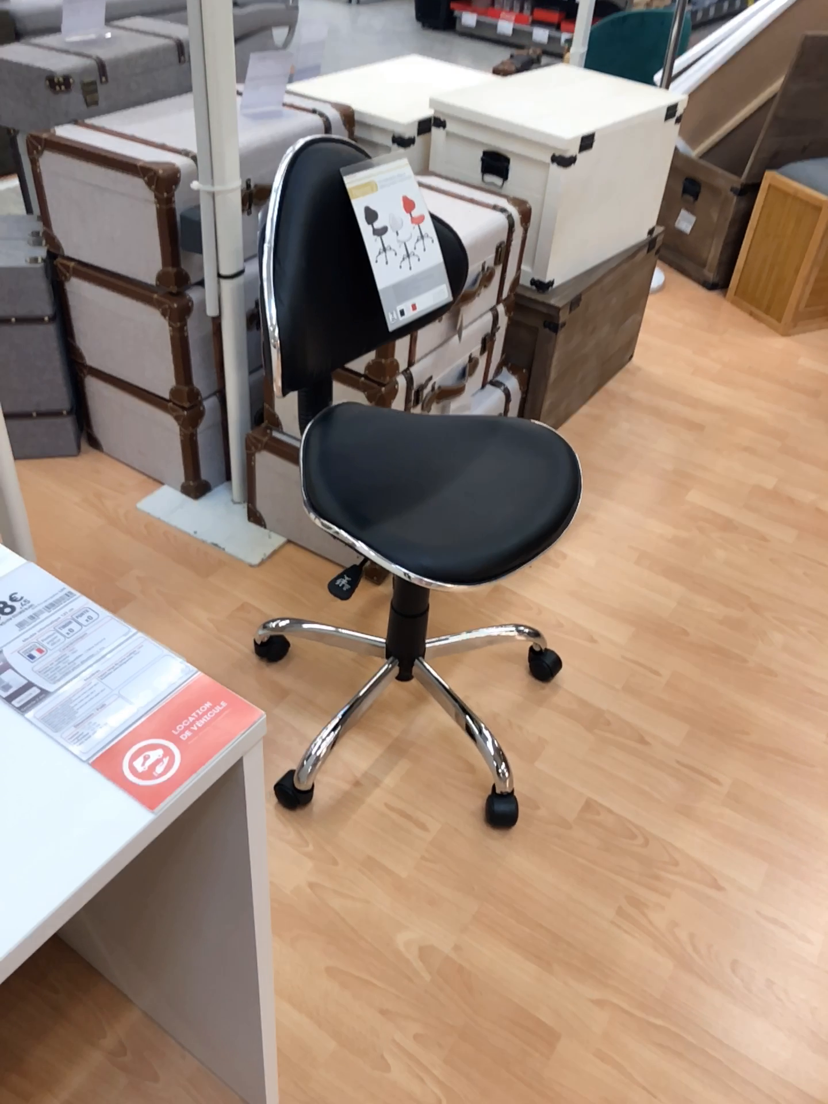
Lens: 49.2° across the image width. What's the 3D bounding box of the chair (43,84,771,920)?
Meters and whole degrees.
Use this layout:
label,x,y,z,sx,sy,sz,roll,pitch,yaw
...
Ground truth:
label,x,y,z,sx,sy,sz,roll,pitch,yaw
chair,0.005,-0.089,1.291,0.610,0.854,0.604,22,42,19
